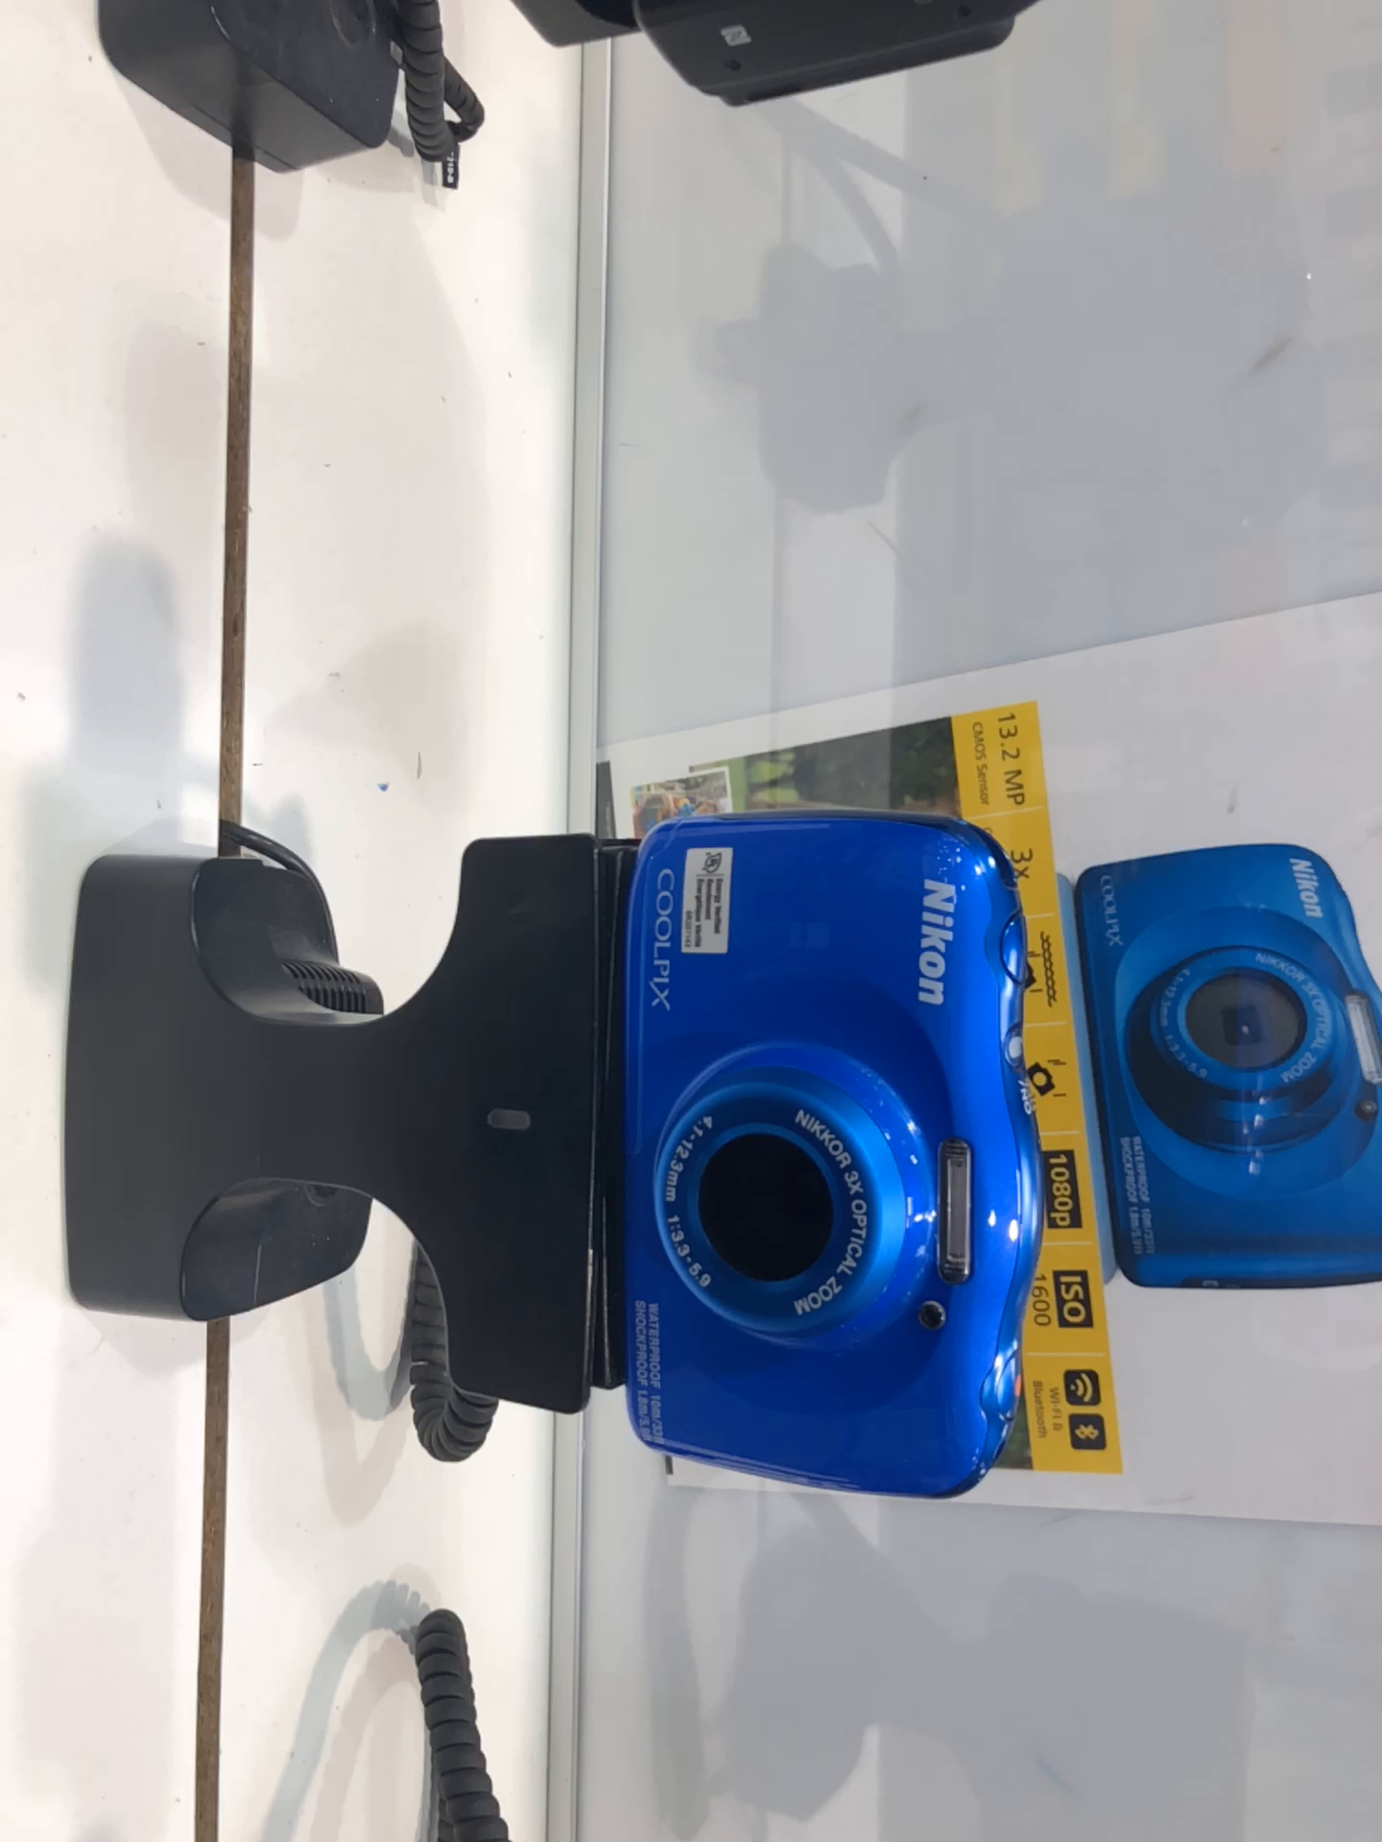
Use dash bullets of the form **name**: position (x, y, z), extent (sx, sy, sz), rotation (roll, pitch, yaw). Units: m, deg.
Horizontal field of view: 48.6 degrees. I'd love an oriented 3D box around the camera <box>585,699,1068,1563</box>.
- **camera**: position (0.025, 0.032, 0.268), extent (0.050, 0.070, 0.130), rotation (1, 89, -64)
